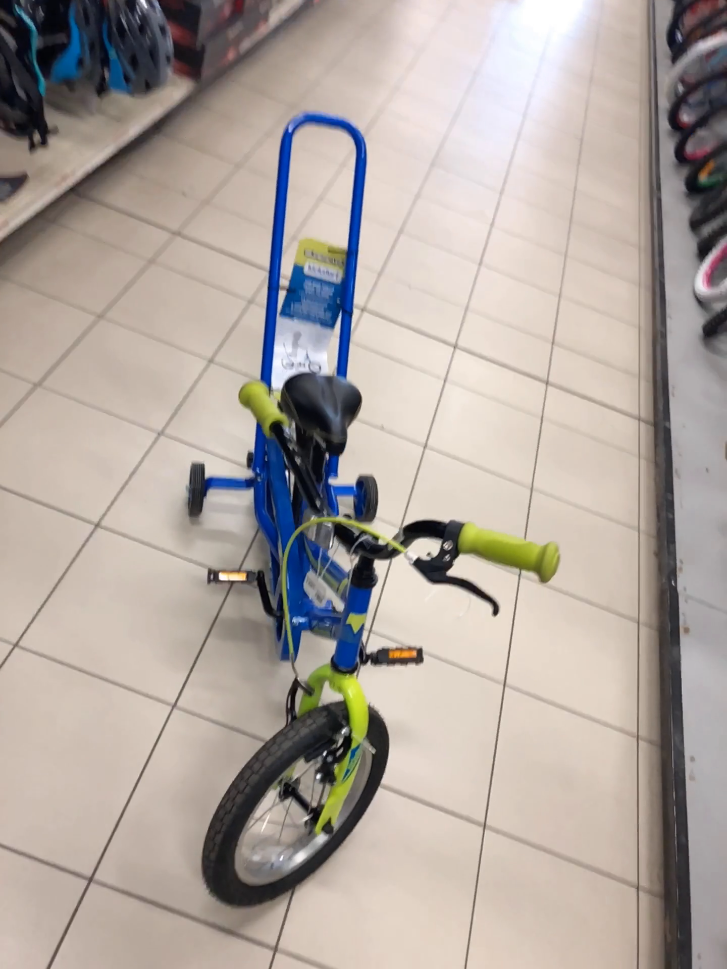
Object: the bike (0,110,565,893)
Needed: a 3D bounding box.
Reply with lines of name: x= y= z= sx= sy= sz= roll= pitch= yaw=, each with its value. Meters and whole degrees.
bike: x=-0.174 y=0.021 z=1.254 sx=0.538 sy=0.763 sz=0.958 roll=12 pitch=44 yaw=-12
